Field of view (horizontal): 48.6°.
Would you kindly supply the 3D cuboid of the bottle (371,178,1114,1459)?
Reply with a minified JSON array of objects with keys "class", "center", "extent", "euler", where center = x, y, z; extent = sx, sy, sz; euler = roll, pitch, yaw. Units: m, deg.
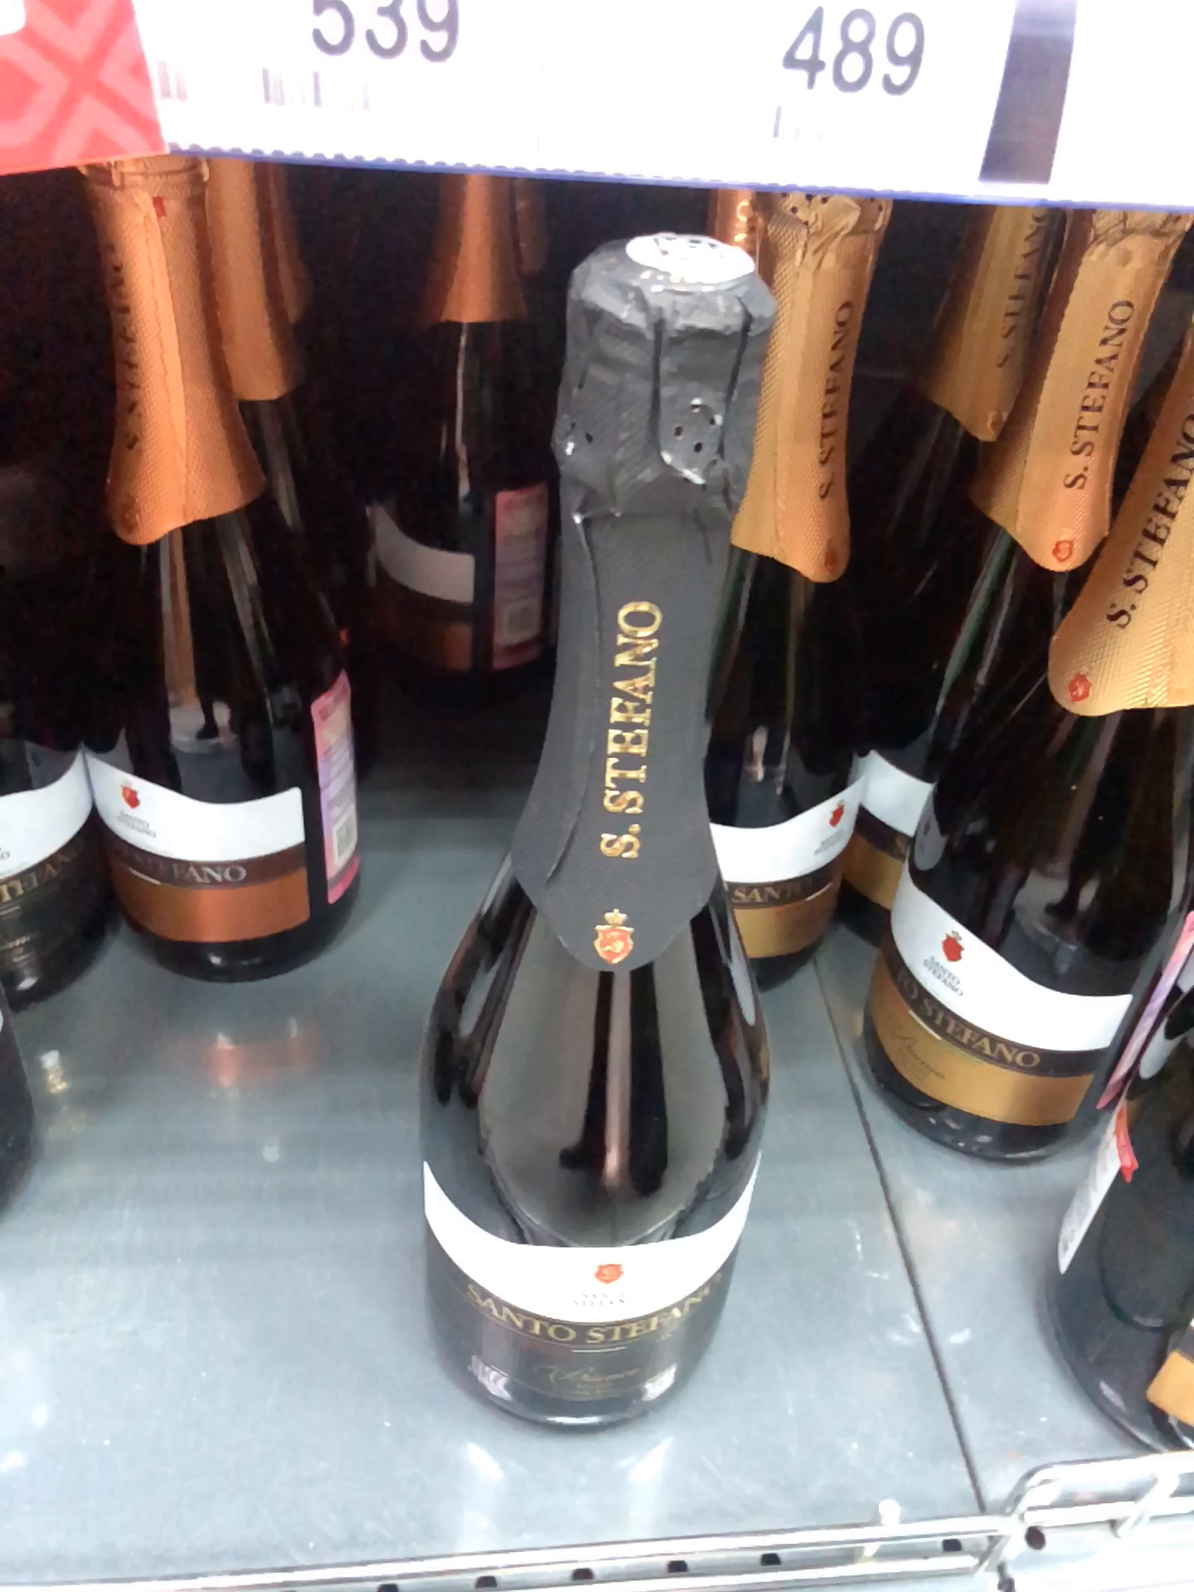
[{"class":"bottle","center":[0.006,0.030,0.297],"extent":[0.100,0.288,0.091],"euler":[-1,38,-8]}]
